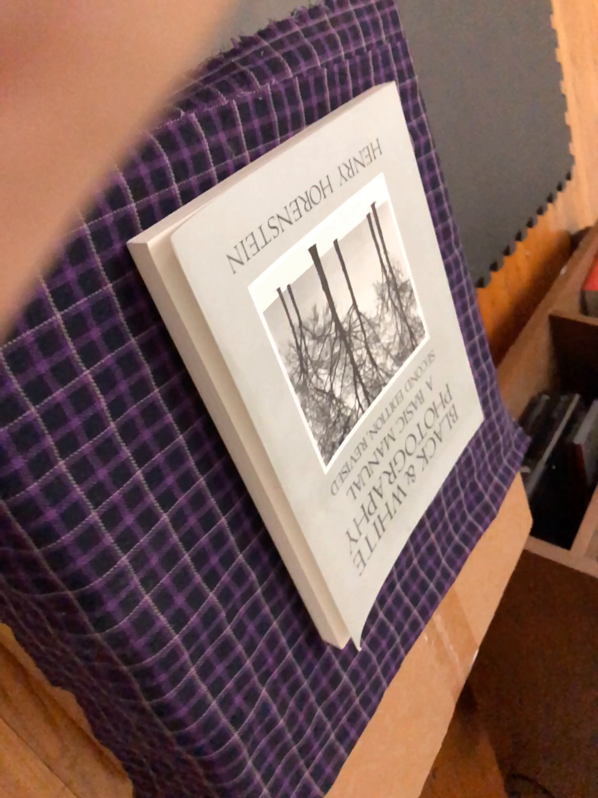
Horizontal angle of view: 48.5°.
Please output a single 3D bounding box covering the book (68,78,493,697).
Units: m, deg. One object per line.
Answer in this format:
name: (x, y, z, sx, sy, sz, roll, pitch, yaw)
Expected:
book: (0.026, -0.009, 0.359, 0.211, 0.030, 0.250, -47, 126, -38)
